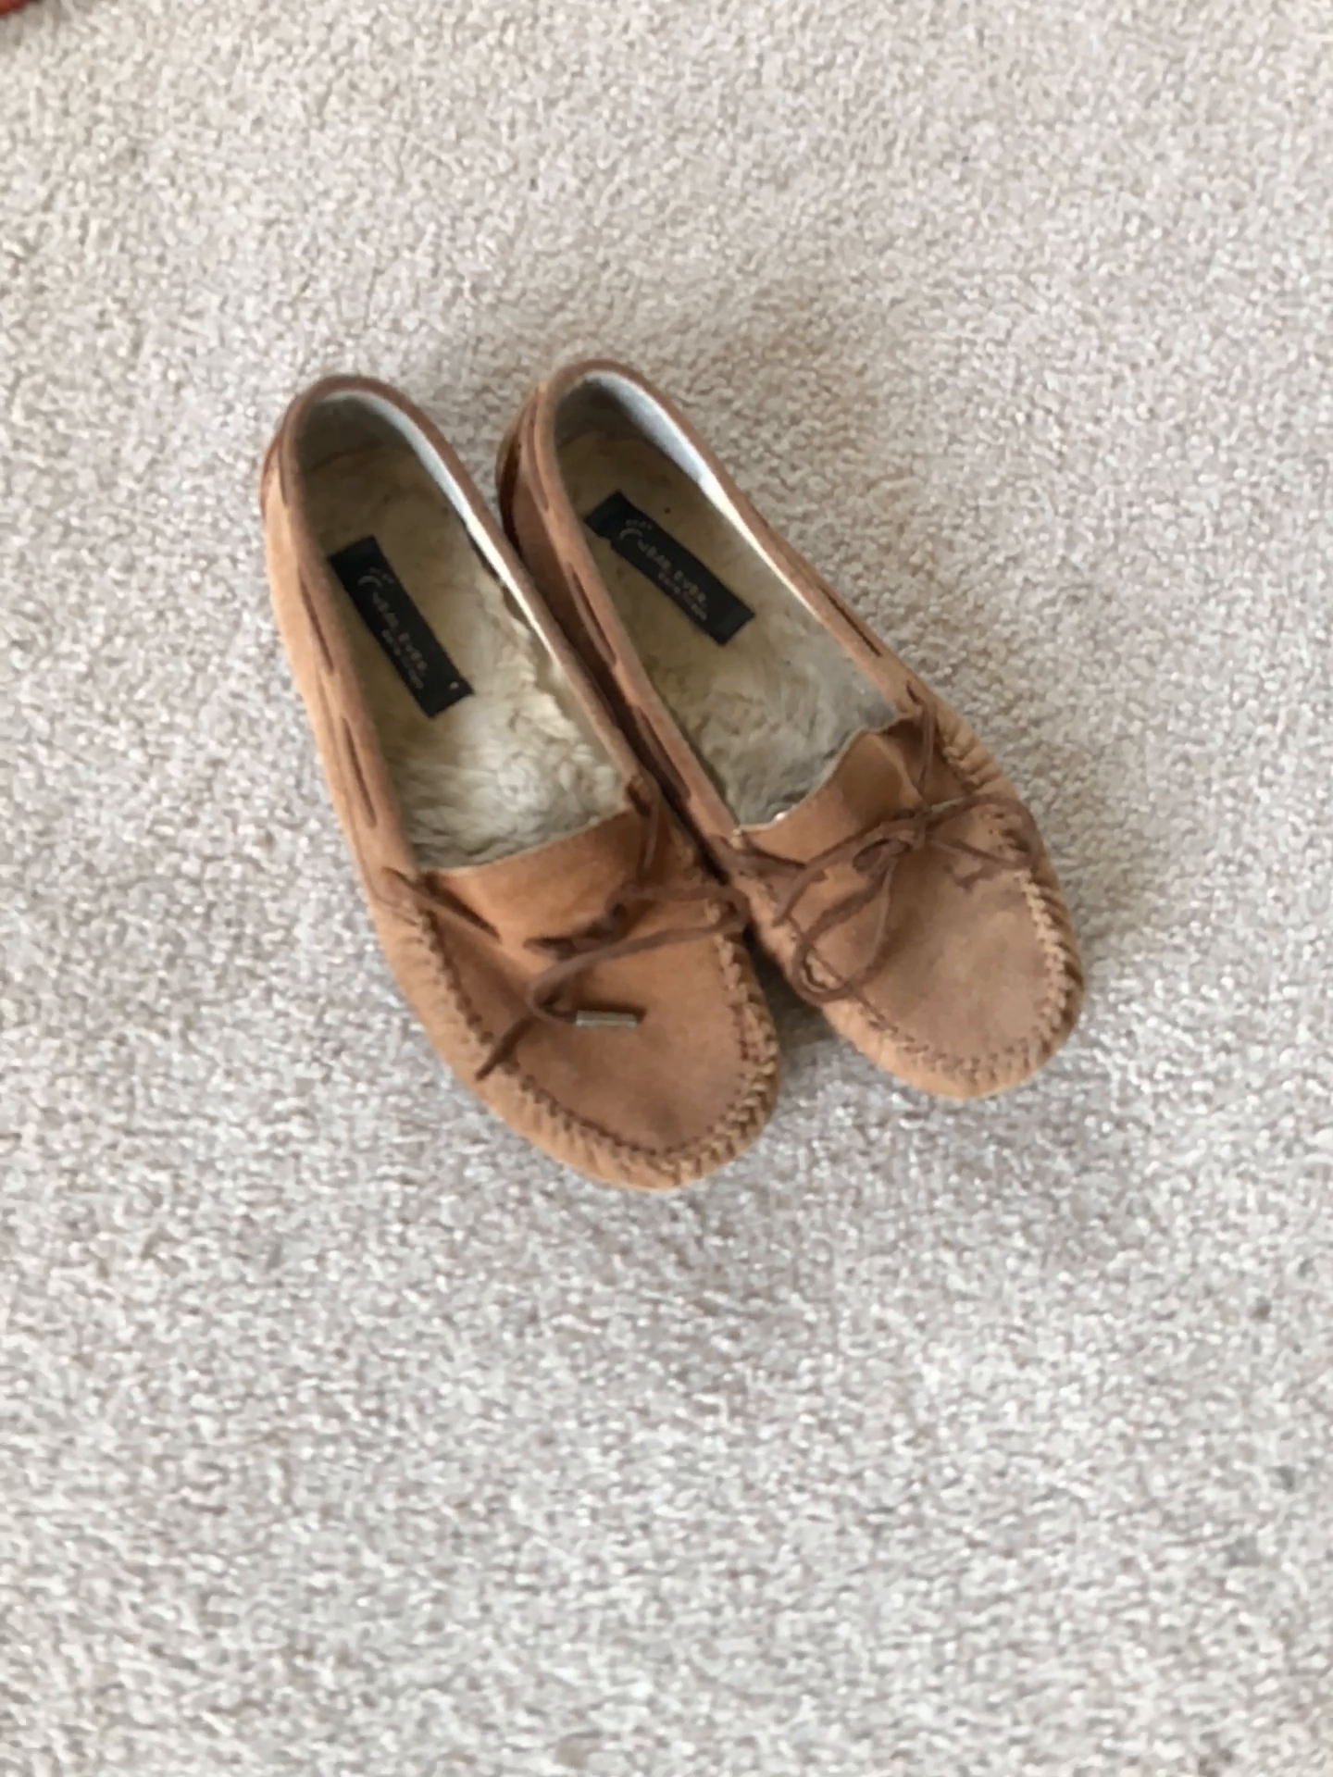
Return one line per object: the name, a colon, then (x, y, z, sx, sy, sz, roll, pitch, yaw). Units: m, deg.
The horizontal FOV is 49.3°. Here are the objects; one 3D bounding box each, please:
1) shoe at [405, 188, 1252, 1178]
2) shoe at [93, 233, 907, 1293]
shoe: (0.039, -0.058, 0.432, 0.098, 0.068, 0.274, -33, 85, -13)
shoe: (-0.050, -0.036, 0.415, 0.105, 0.068, 0.270, -26, 83, -12)
